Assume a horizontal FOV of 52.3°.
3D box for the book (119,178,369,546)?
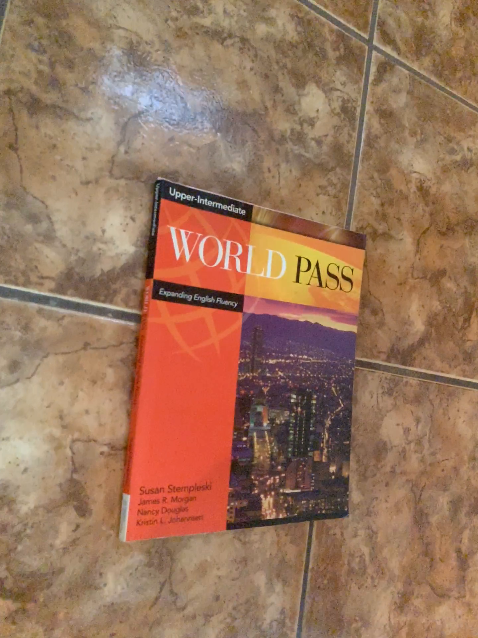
[{"bbox_3d":[0.020,0.040,0.420,0.220,0.016,0.271,8,83,-30],"label":"book"}]
